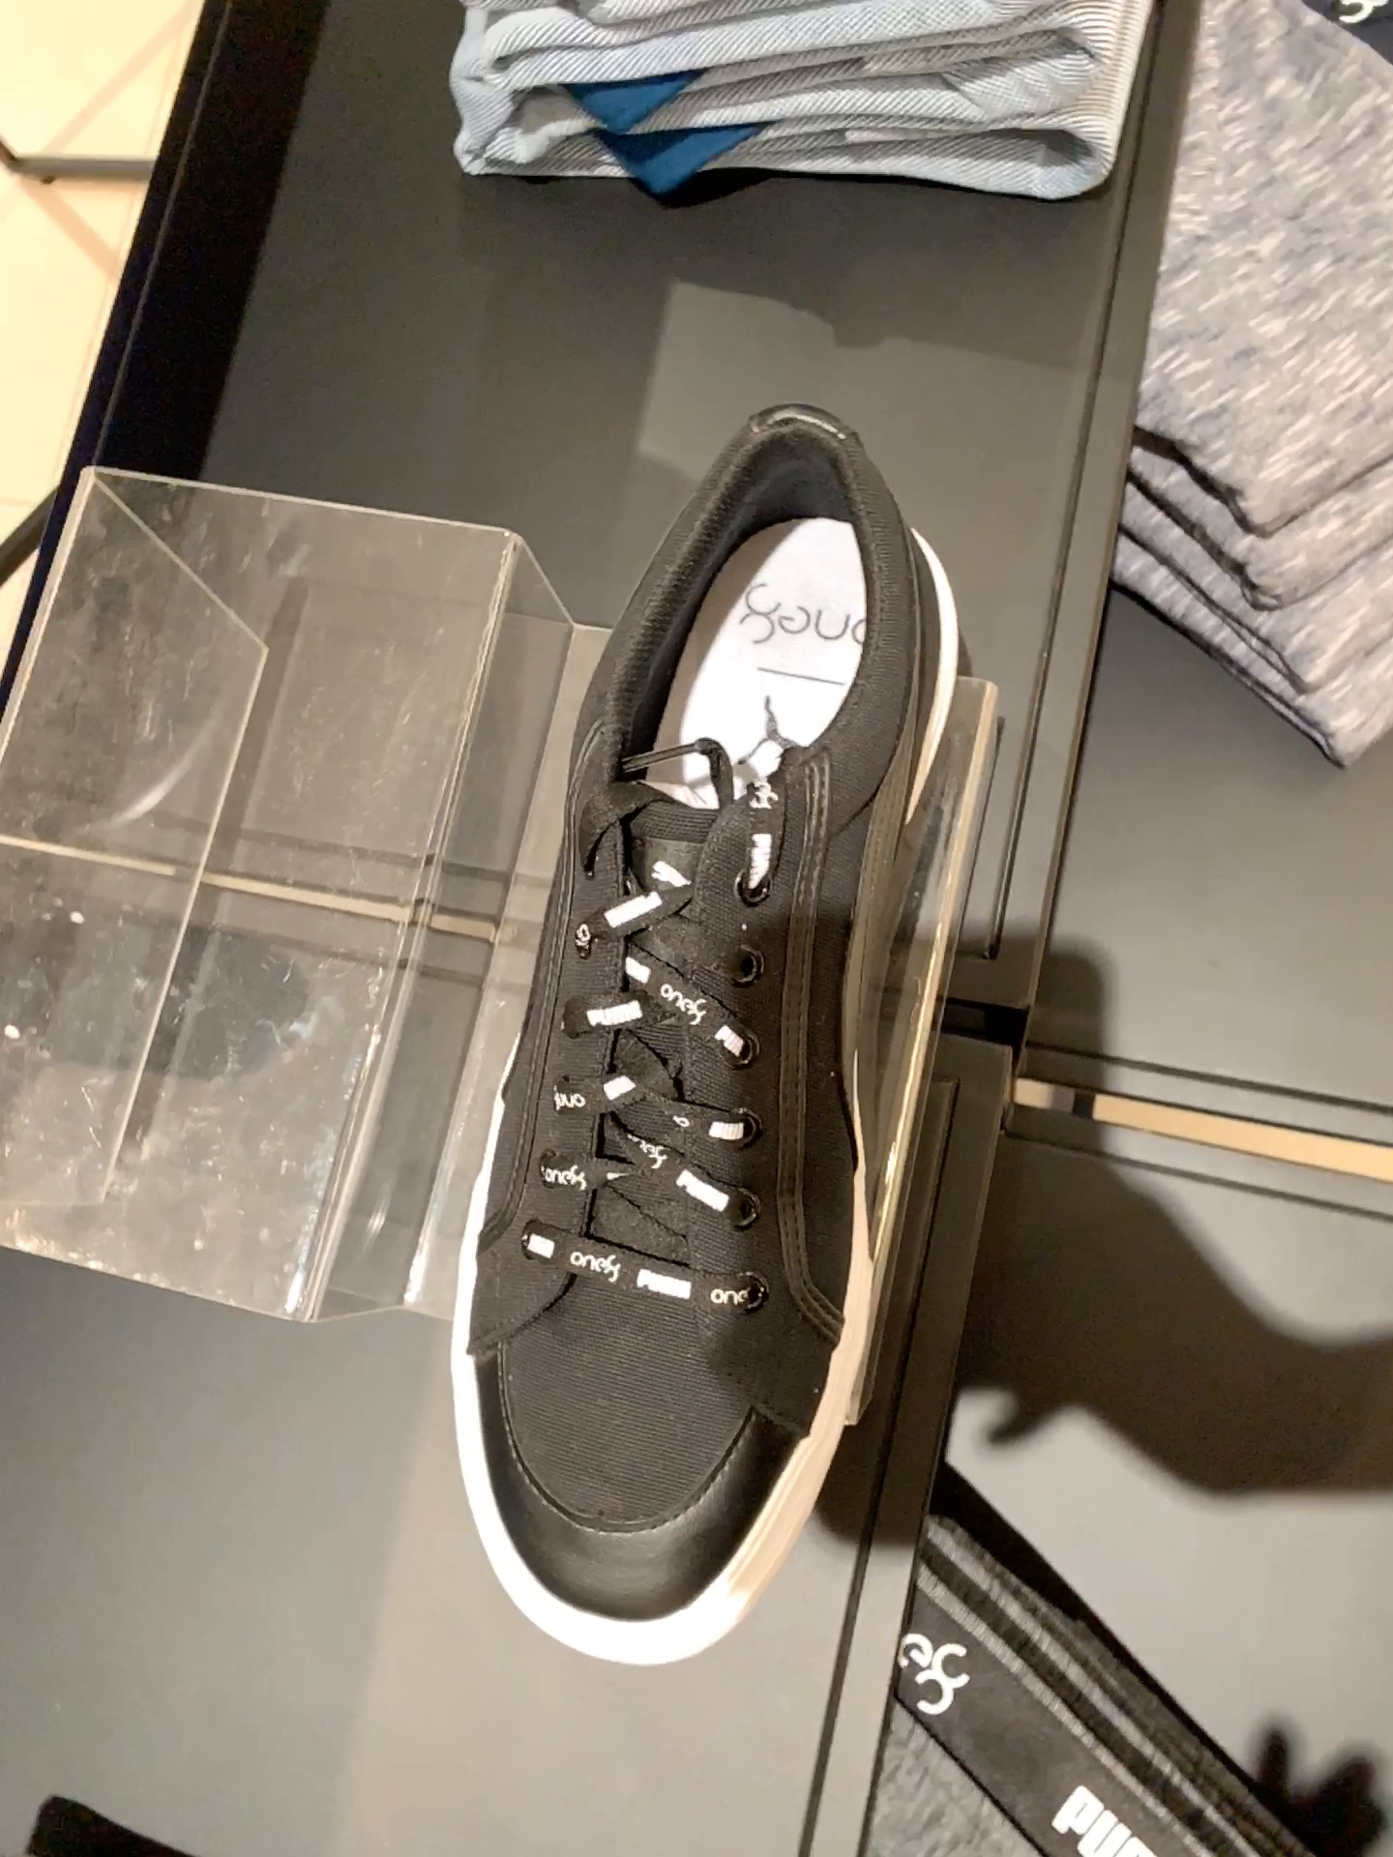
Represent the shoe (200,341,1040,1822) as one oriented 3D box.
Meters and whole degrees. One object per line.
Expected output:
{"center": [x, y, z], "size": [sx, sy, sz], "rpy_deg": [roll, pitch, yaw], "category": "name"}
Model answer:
{"center": [-0.003, 0.022, 0.336], "size": [0.110, 0.100, 0.280], "rpy_deg": [11, 80, 14], "category": "shoe"}
